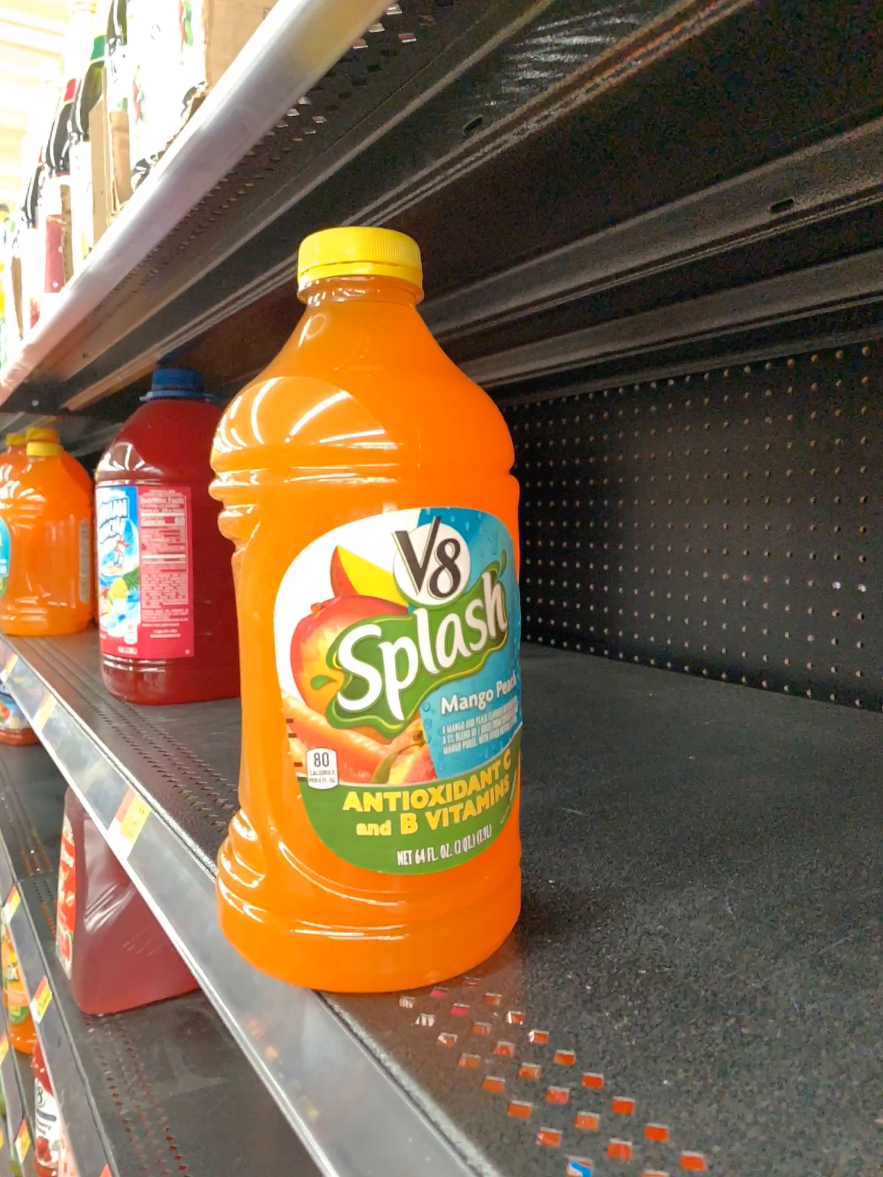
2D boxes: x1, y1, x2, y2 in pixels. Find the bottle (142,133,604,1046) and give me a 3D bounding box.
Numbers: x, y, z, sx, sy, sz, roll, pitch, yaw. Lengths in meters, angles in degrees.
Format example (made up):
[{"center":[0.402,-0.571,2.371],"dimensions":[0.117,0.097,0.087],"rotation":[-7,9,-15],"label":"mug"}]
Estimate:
[{"center":[-0.029,-0.003,0.343],"dimensions":[0.128,0.260,0.125],"rotation":[-1,5,0],"label":"bottle"}]
